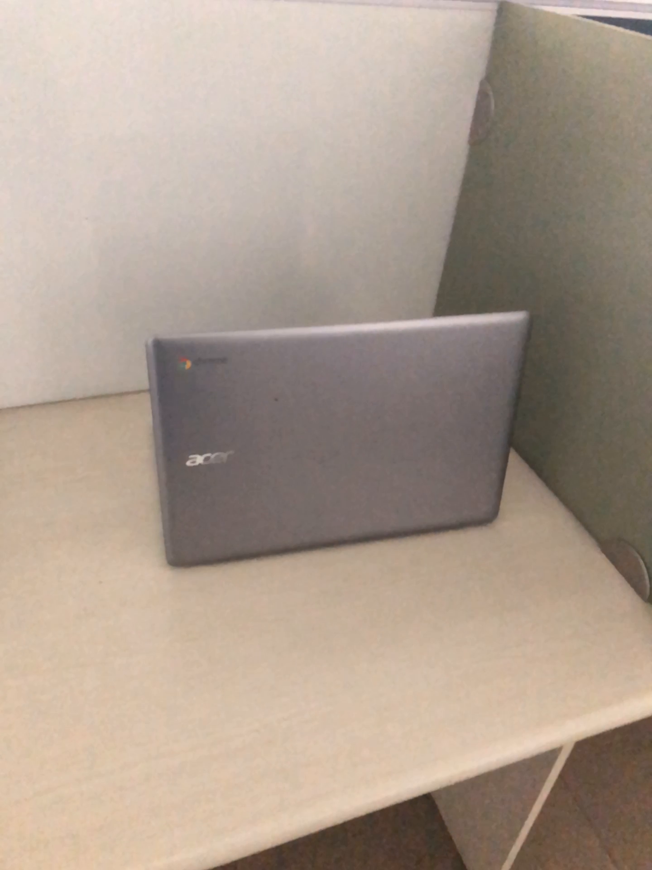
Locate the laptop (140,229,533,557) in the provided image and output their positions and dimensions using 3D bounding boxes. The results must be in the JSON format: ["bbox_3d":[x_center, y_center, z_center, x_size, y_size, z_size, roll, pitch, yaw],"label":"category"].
[{"bbox_3d":[-0.008,-0.056,0.711,0.321,0.218,0.222,-5,37,-17],"label":"laptop"}]
